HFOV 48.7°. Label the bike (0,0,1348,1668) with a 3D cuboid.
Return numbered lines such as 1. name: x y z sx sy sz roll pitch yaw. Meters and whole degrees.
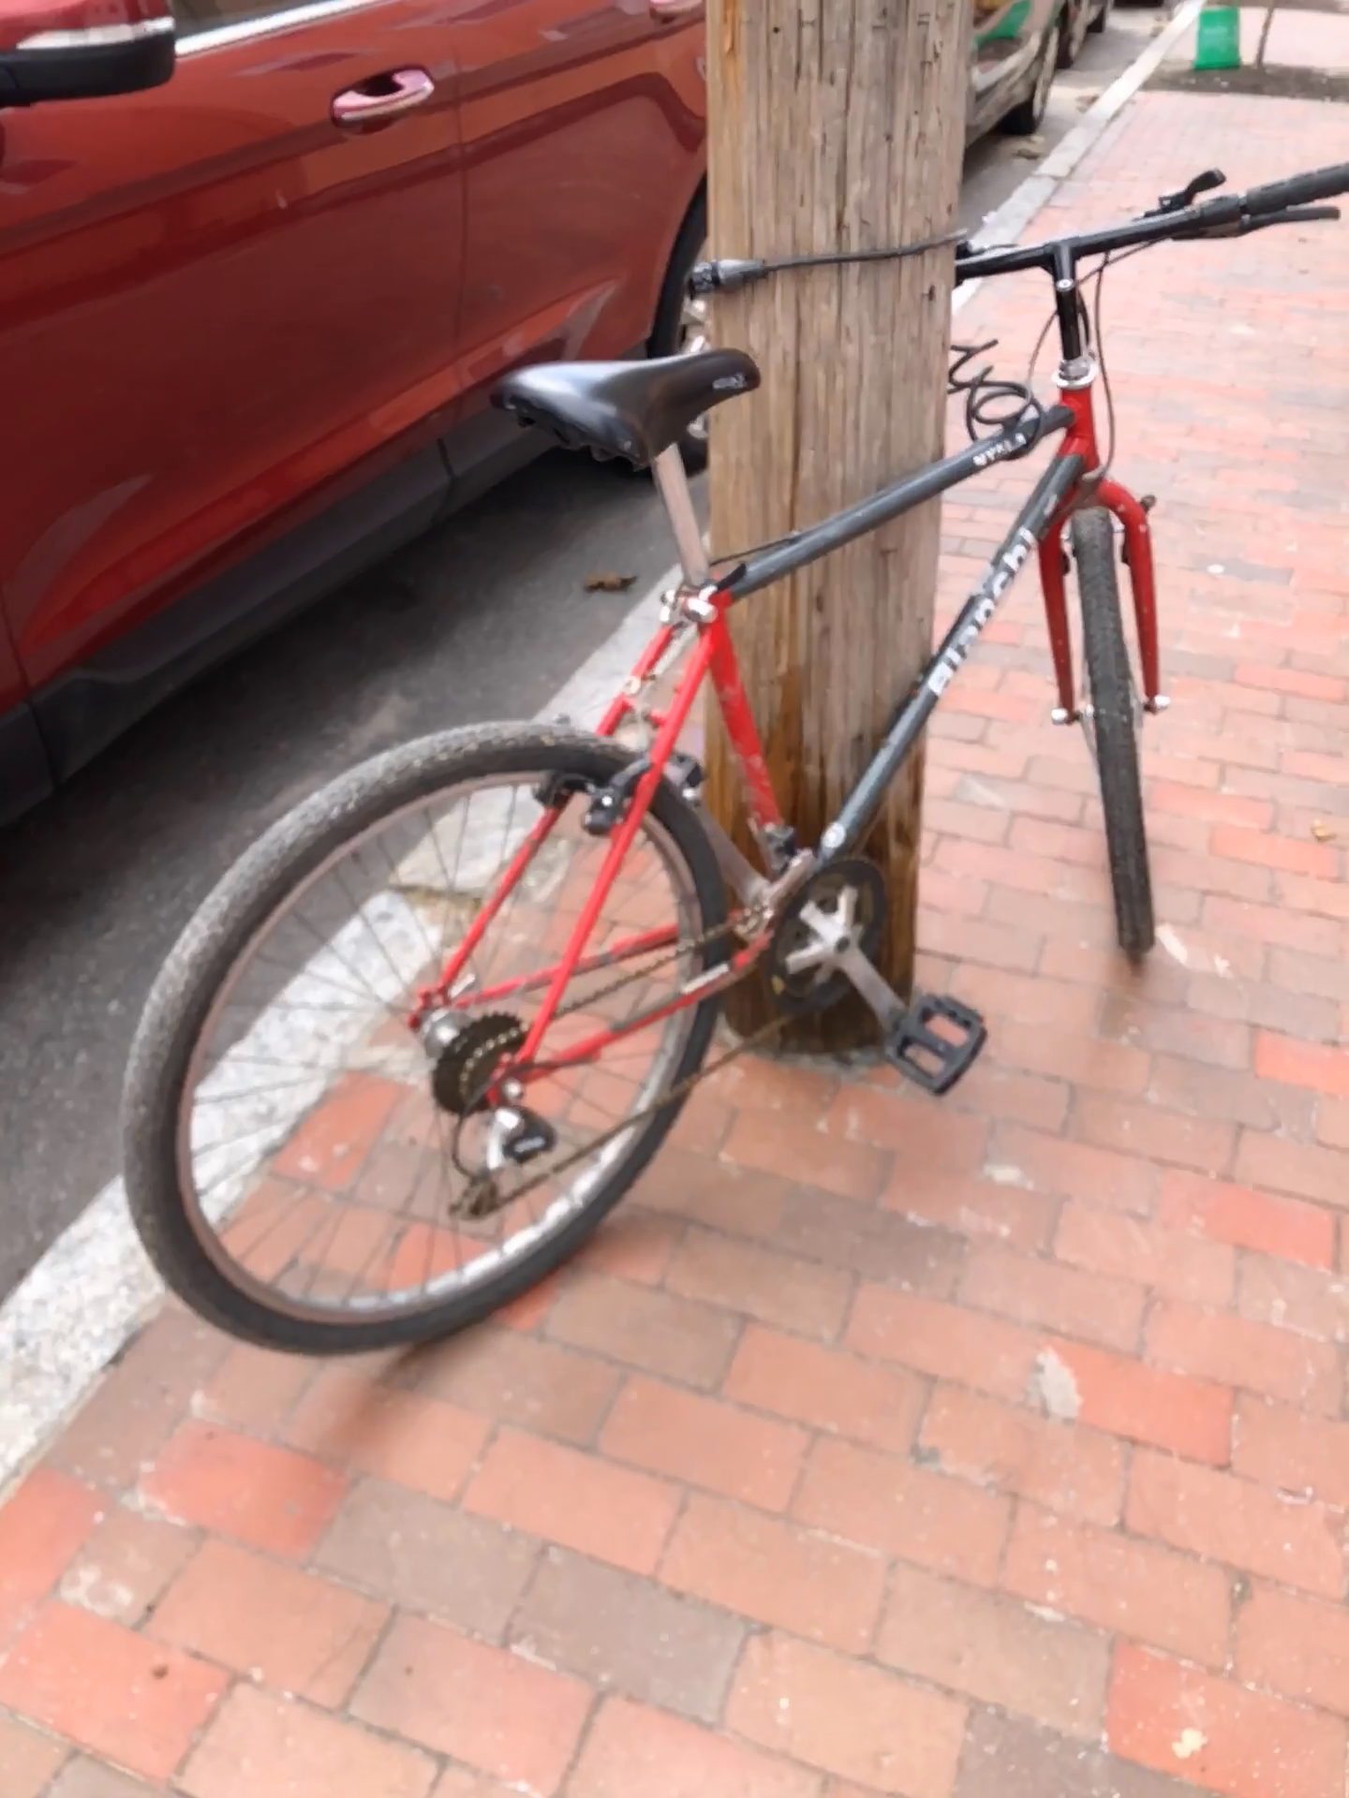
1. bike: 0.090 -0.278 1.548 0.581 0.983 1.534 28 44 32
